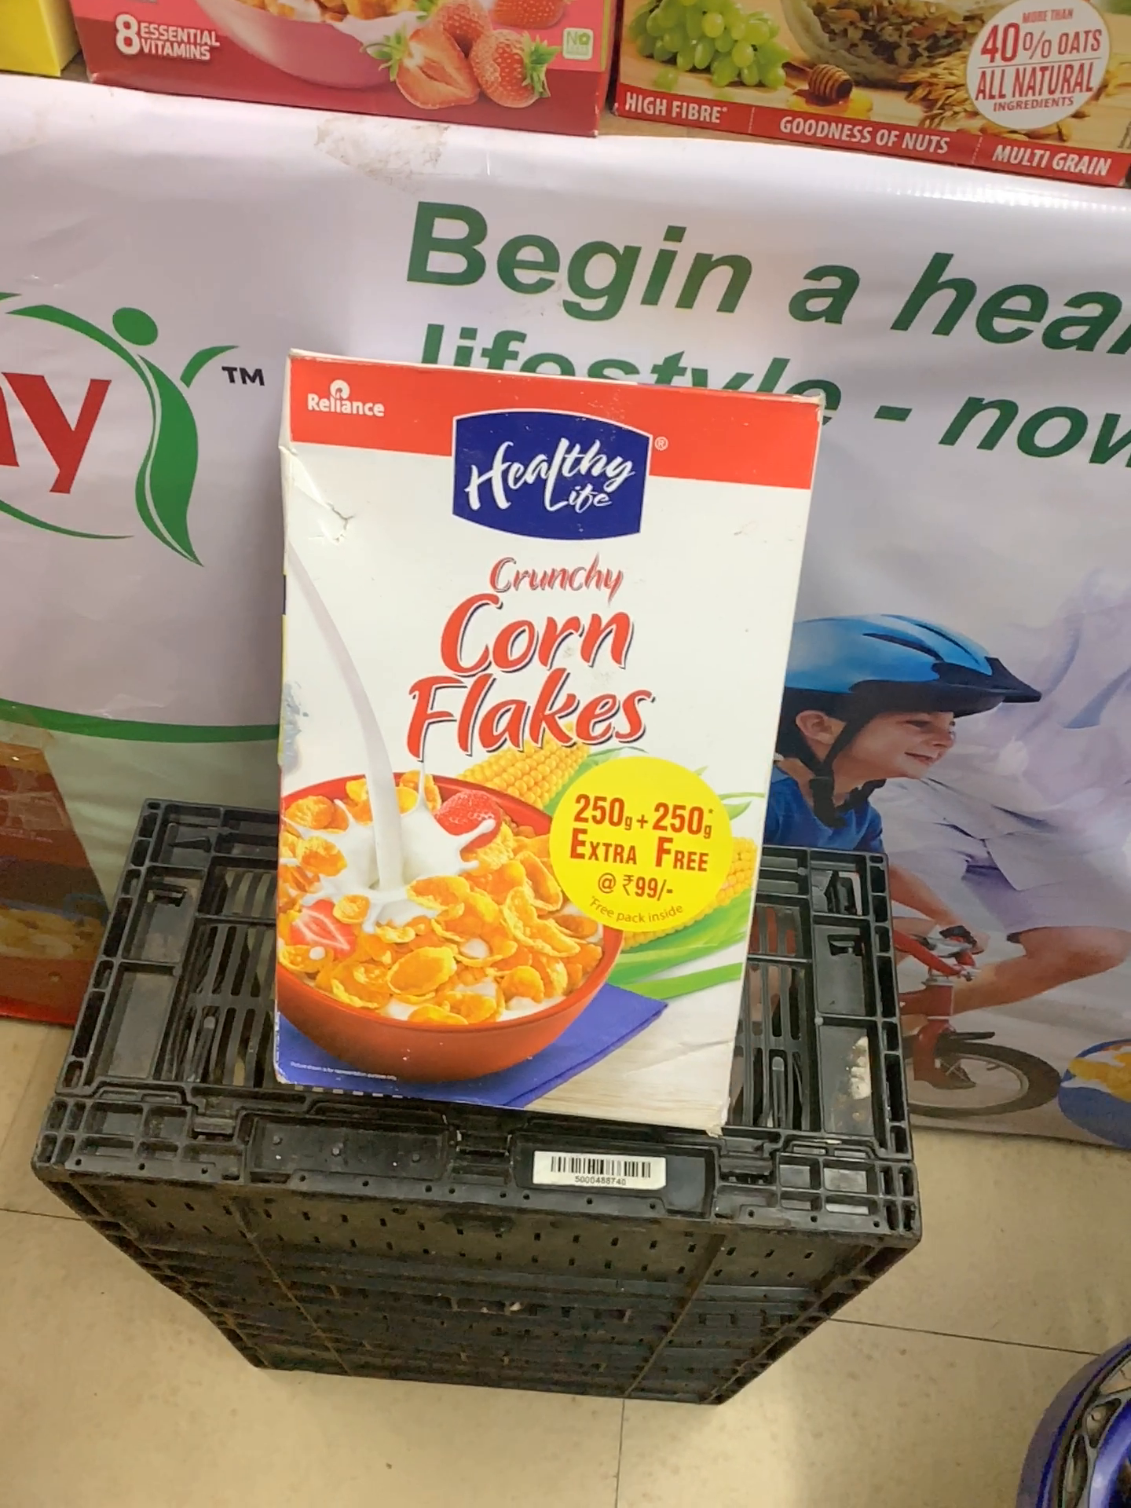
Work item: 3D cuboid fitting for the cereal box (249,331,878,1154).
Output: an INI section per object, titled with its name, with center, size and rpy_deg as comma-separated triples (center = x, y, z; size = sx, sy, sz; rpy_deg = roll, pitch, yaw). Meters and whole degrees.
[cereal box]
center = -0.006, -0.006, 0.463
size = 0.200, 0.280, 0.100
rpy_deg = 6, 12, 3
